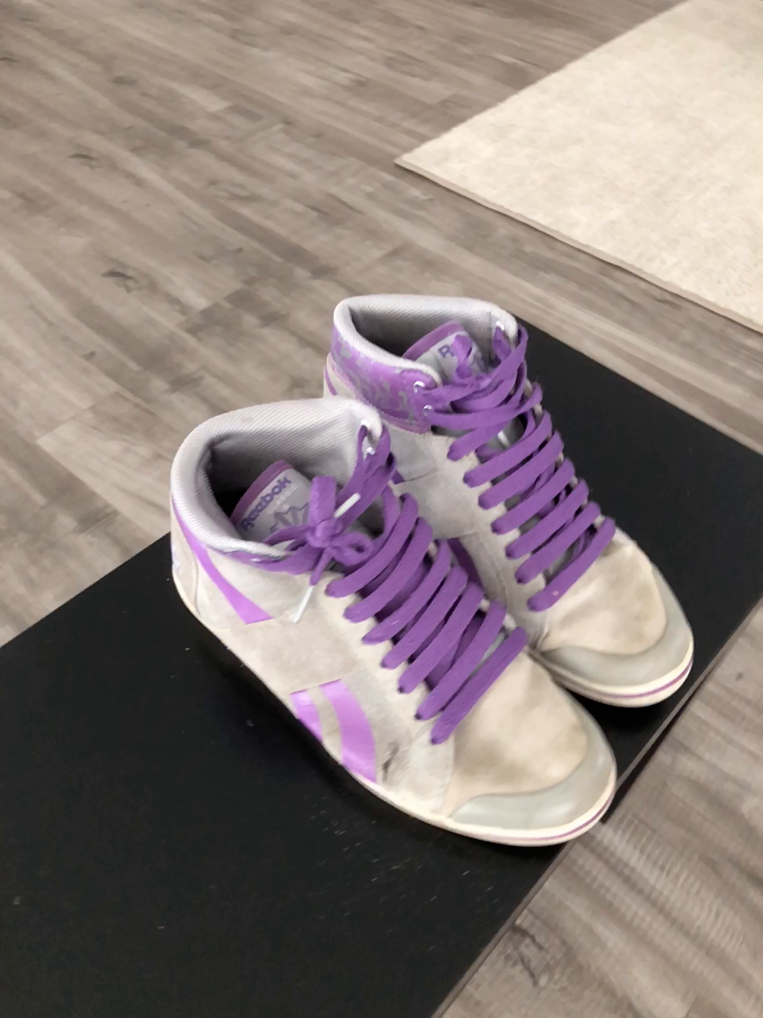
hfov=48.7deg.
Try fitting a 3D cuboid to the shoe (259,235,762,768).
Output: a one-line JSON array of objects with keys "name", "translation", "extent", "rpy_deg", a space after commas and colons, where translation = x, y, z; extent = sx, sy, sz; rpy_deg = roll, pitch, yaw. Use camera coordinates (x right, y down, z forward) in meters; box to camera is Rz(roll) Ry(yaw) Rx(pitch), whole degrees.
[{"name": "shoe", "translation": [0.056, -0.015, 0.400], "extent": [0.090, 0.110, 0.241], "rpy_deg": [-34, 59, -28]}]

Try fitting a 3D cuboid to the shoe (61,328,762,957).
[{"name": "shoe", "translation": [0.001, 0.045, 0.349], "extent": [0.241, 0.120, 0.100], "rpy_deg": [31, 55, 22]}]
